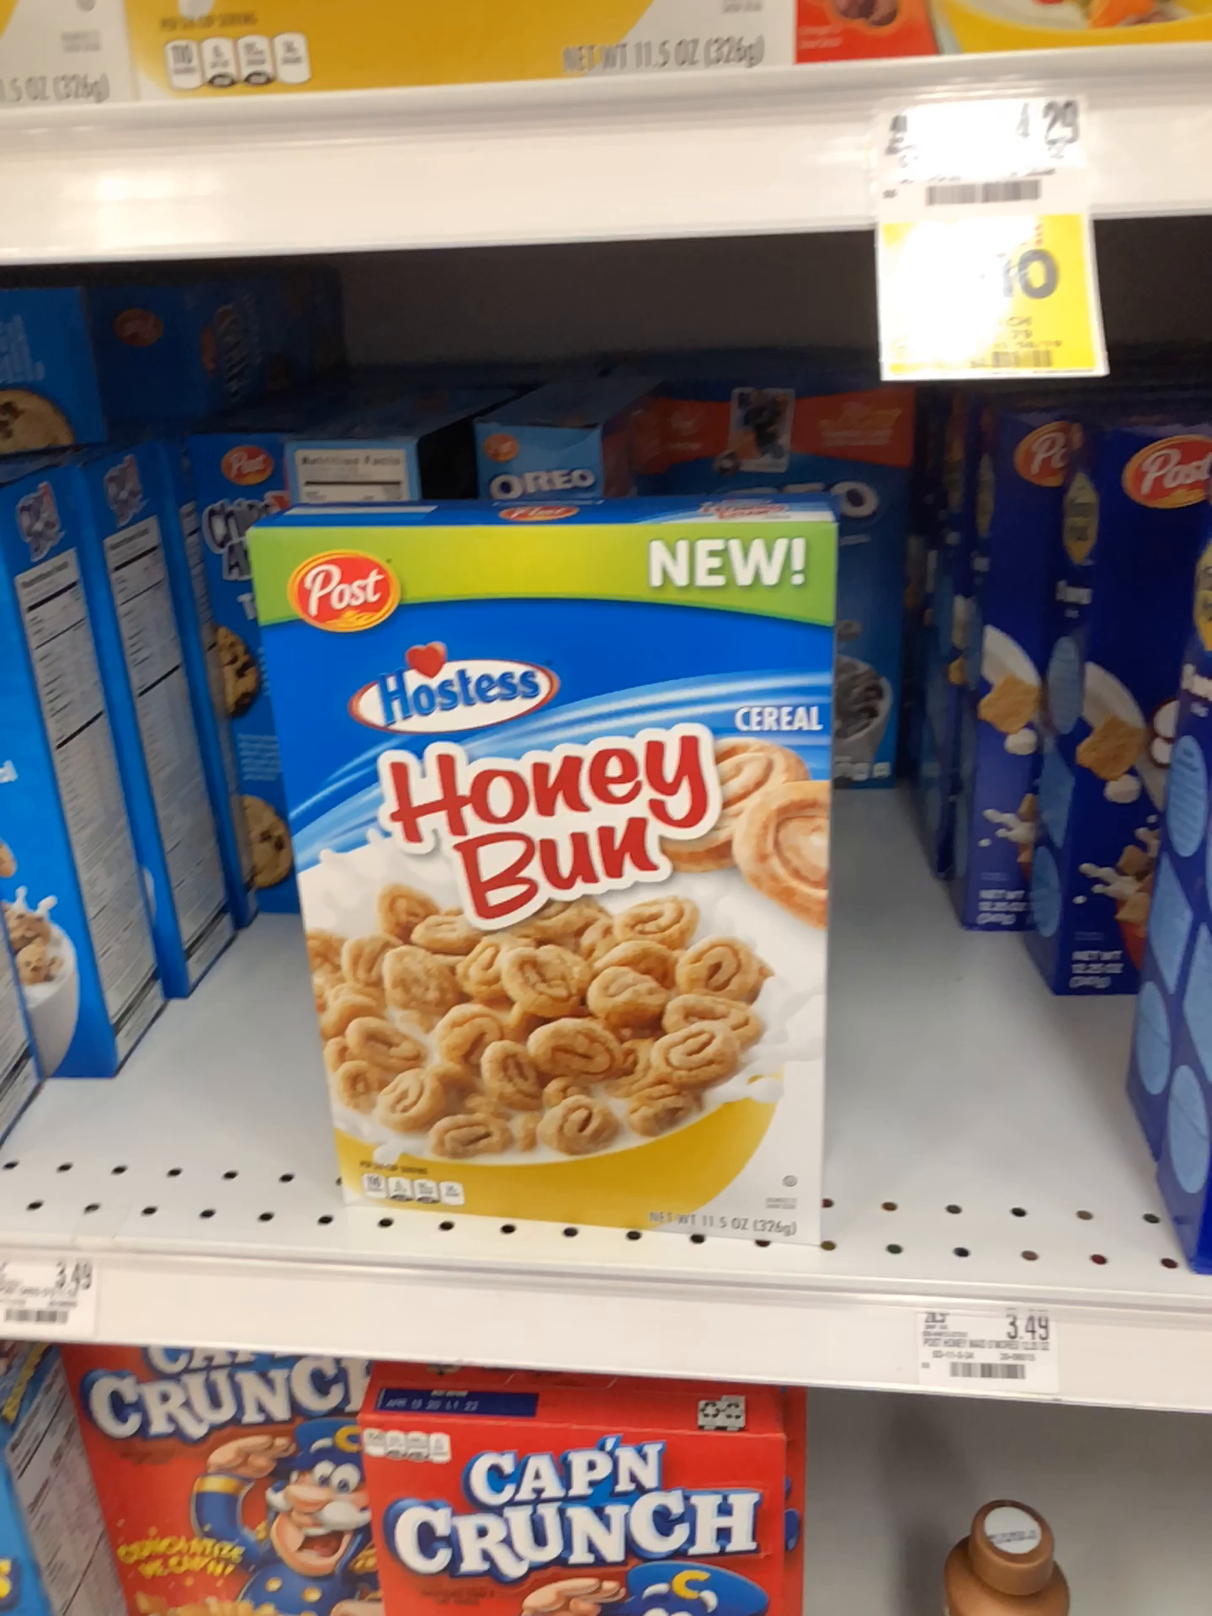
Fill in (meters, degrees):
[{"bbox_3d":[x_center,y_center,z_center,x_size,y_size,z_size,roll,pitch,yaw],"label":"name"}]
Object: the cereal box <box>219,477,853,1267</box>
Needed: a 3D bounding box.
[{"bbox_3d":[-0.017,0.026,0.516,0.210,0.289,0.070,2,21,10],"label":"cereal box"}]
